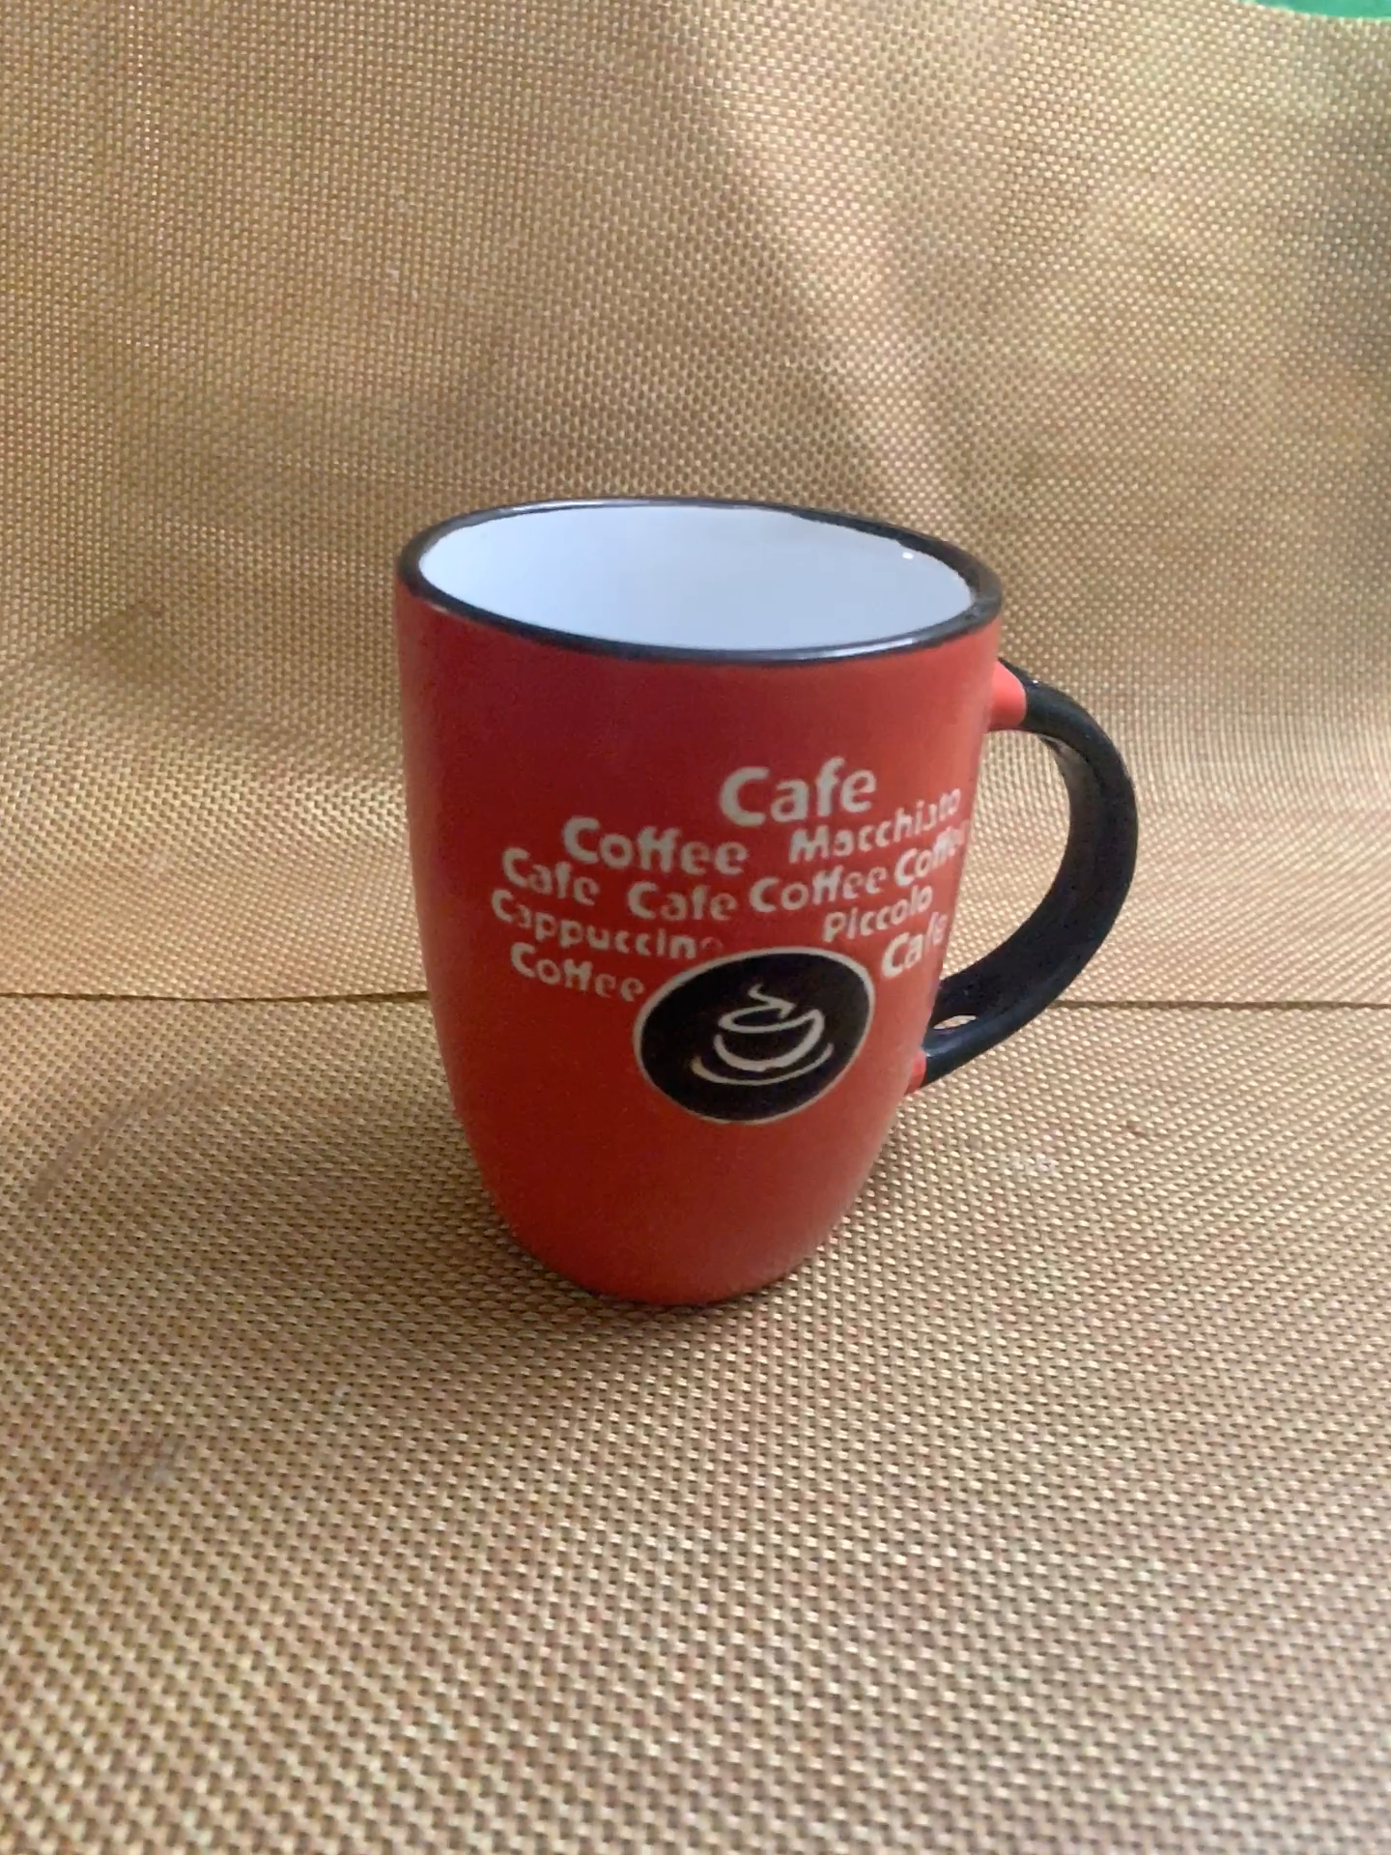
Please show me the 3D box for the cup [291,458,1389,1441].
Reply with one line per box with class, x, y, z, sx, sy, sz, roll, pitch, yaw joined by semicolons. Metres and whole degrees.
cup;0.012;-0.009;0.219;0.120;0.099;0.091;-10;31;-23
